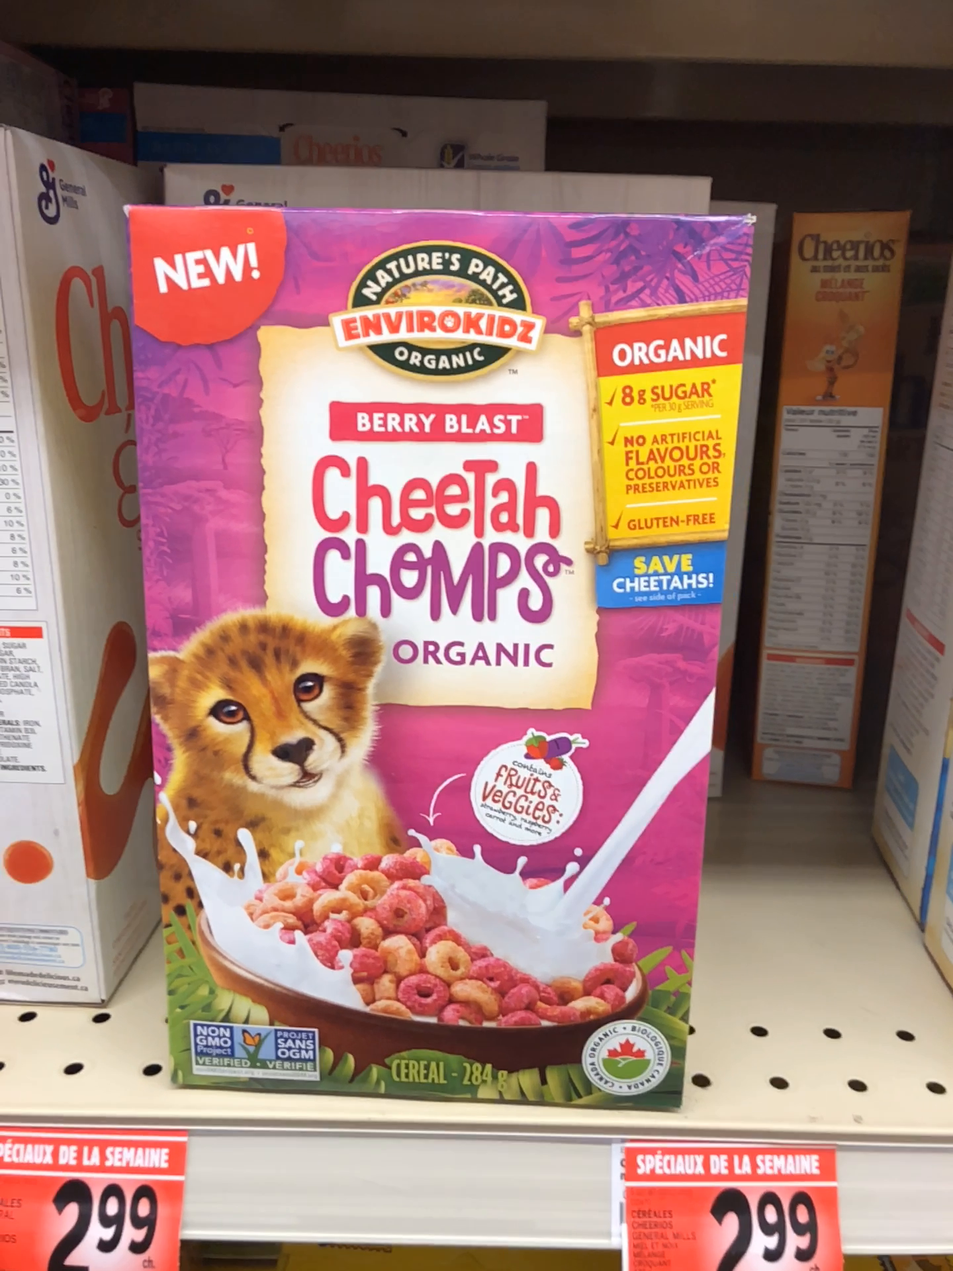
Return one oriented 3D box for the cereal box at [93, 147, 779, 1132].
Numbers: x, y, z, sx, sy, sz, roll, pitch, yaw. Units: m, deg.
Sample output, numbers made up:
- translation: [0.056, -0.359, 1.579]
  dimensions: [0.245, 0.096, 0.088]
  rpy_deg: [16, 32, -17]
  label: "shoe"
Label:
- translation: [-0.012, 0.005, 0.309]
  dimensions: [0.160, 0.259, 0.070]
  rpy_deg: [2, 14, 3]
  label: "cereal box"
